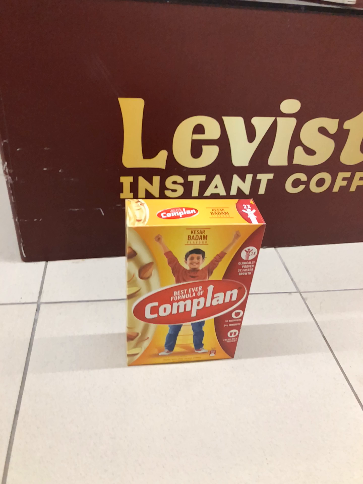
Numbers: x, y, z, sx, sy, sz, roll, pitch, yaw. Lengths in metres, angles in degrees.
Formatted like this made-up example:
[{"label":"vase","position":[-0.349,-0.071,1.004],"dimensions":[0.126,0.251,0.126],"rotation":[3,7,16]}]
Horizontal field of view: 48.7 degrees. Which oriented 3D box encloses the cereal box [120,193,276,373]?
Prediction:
[{"label":"cereal box","position":[0.007,0.054,0.470],"dimensions":[0.150,0.218,0.060],"rotation":[-2,36,-9]}]
